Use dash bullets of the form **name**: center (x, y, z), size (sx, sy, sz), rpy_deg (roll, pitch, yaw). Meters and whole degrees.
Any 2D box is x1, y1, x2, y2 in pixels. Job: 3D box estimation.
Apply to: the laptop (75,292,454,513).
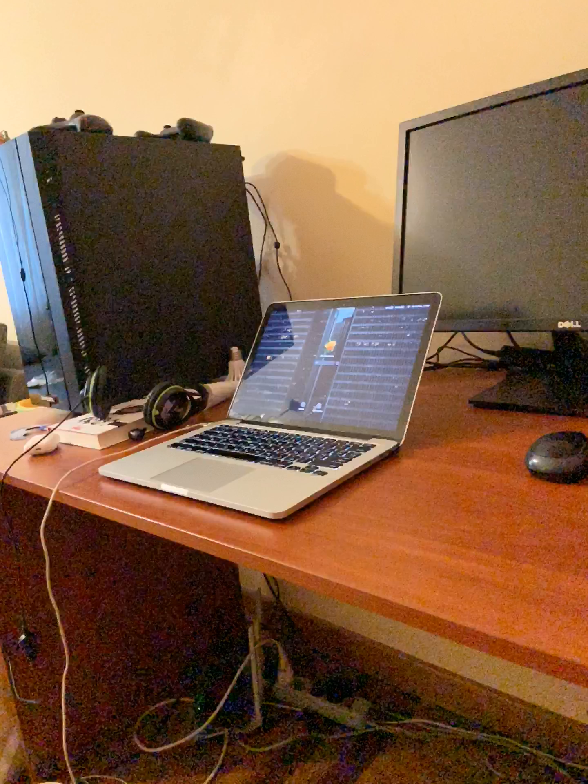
- **laptop**: center (-0.023, -0.016, 0.751), size (0.300, 0.155, 0.341), rpy_deg (4, 17, 40)
